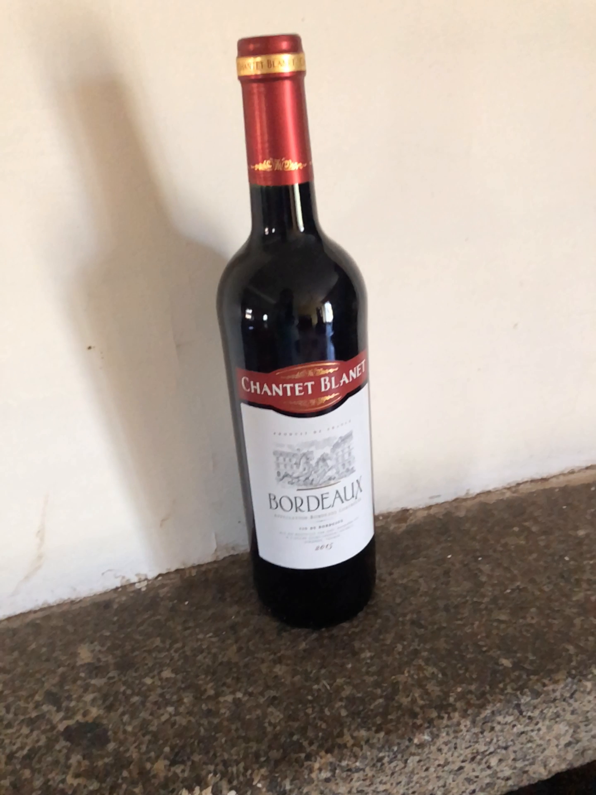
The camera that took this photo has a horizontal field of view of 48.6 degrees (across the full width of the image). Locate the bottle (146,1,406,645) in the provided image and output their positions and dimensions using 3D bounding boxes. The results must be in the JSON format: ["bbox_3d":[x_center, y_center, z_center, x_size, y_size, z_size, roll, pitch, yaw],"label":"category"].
[{"bbox_3d":[-0.004,-0.023,0.330,0.080,0.288,0.080,-5,26,2],"label":"bottle"}]
